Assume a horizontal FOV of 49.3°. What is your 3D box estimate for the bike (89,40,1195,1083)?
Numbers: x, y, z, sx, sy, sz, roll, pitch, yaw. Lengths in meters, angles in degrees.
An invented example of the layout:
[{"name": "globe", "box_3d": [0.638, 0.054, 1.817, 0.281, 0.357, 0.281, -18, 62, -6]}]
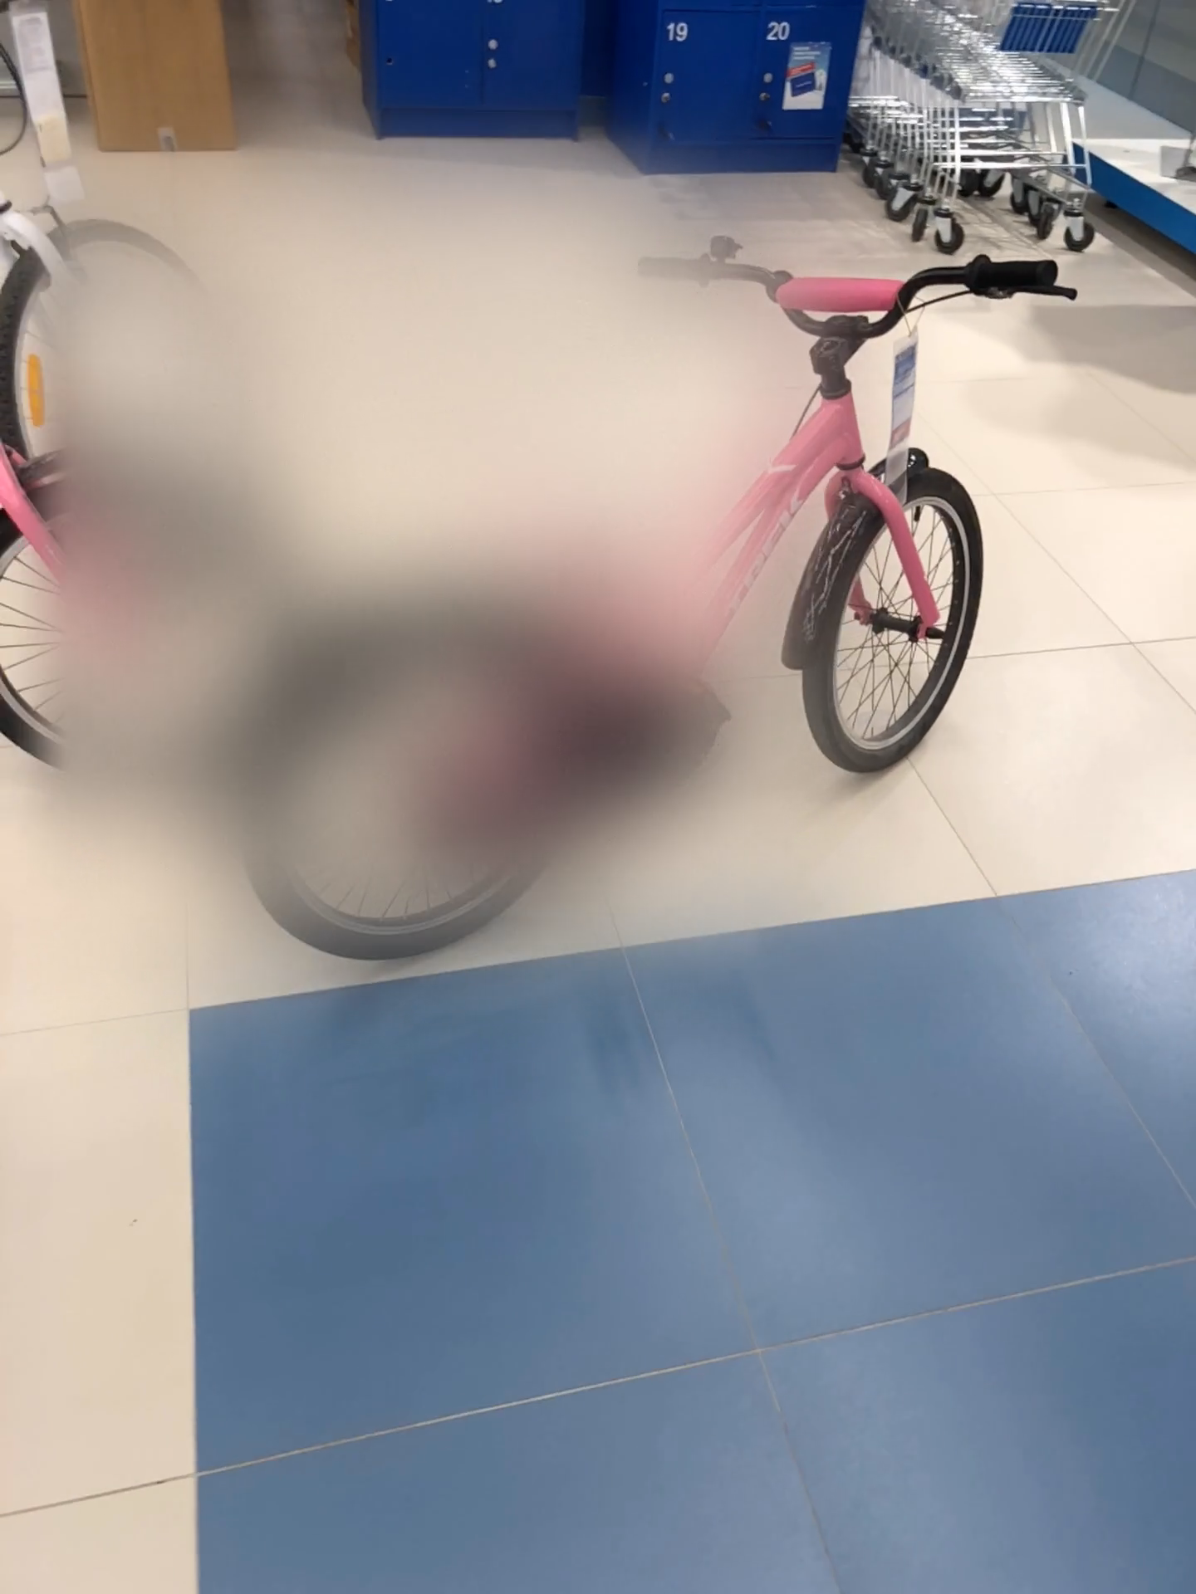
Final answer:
[{"name": "bike", "box_3d": [0.114, -0.394, 1.785, 1.299, 0.834, 0.557, -27, 49, -27]}]
